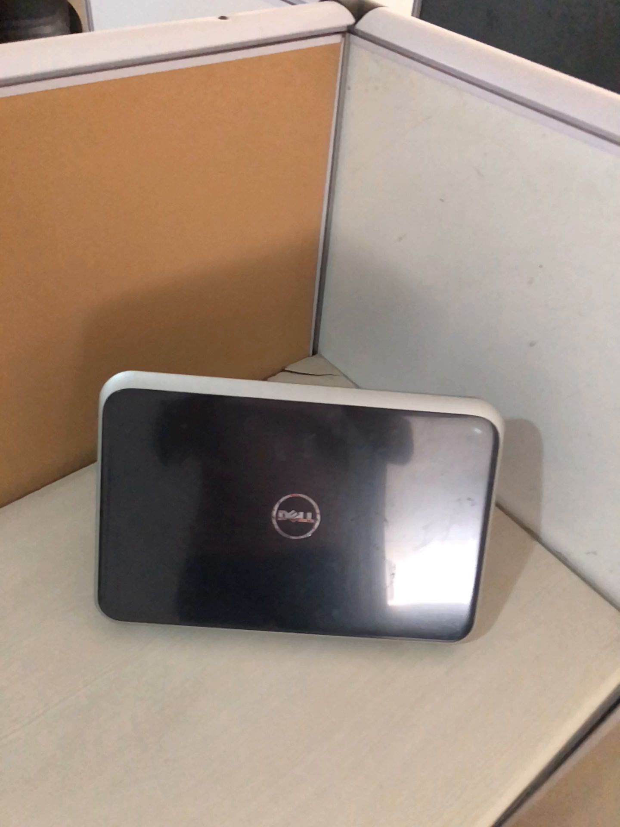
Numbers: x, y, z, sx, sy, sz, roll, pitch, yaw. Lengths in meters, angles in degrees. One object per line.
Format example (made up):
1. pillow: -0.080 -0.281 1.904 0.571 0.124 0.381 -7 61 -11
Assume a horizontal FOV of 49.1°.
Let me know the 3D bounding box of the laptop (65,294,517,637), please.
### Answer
1. laptop: -0.012 0.050 0.672 0.347 0.193 0.241 5 45 -3
